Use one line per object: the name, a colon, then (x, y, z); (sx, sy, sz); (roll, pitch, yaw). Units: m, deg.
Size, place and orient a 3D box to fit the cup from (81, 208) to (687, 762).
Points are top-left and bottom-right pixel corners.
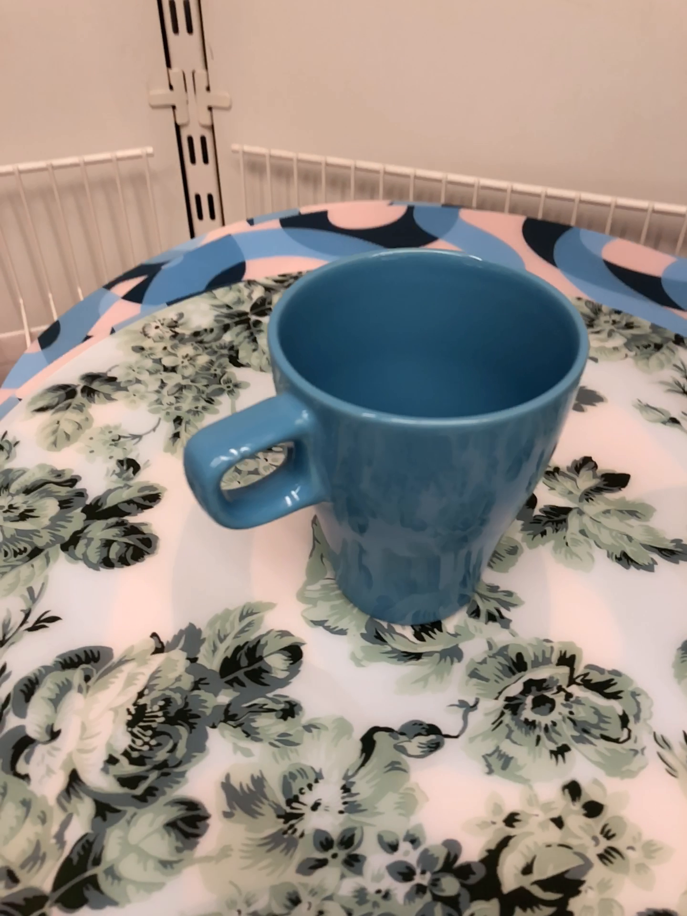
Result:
cup: (0.010, -0.004, 0.214); (0.120, 0.080, 0.090); (-26, 45, -28)
